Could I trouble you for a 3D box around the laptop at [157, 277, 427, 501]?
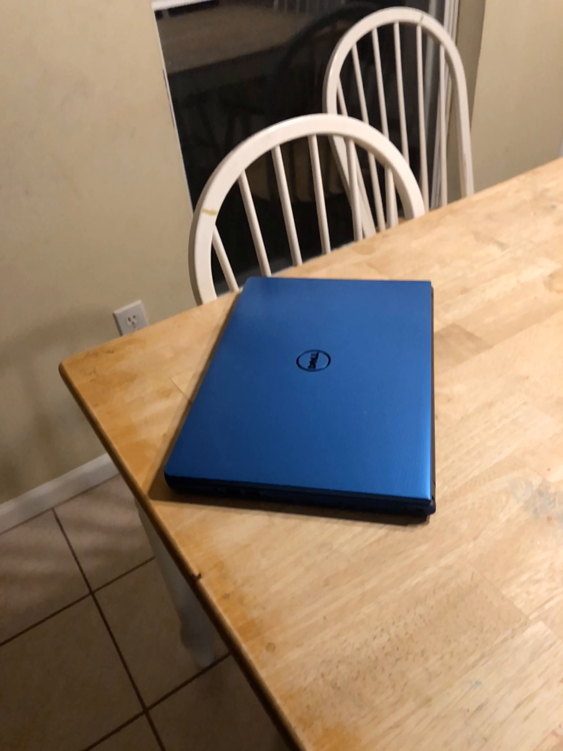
[{"bbox_3d":[0.039,-0.015,0.736,0.259,0.001,0.390,3,39,11],"label":"laptop"}]
